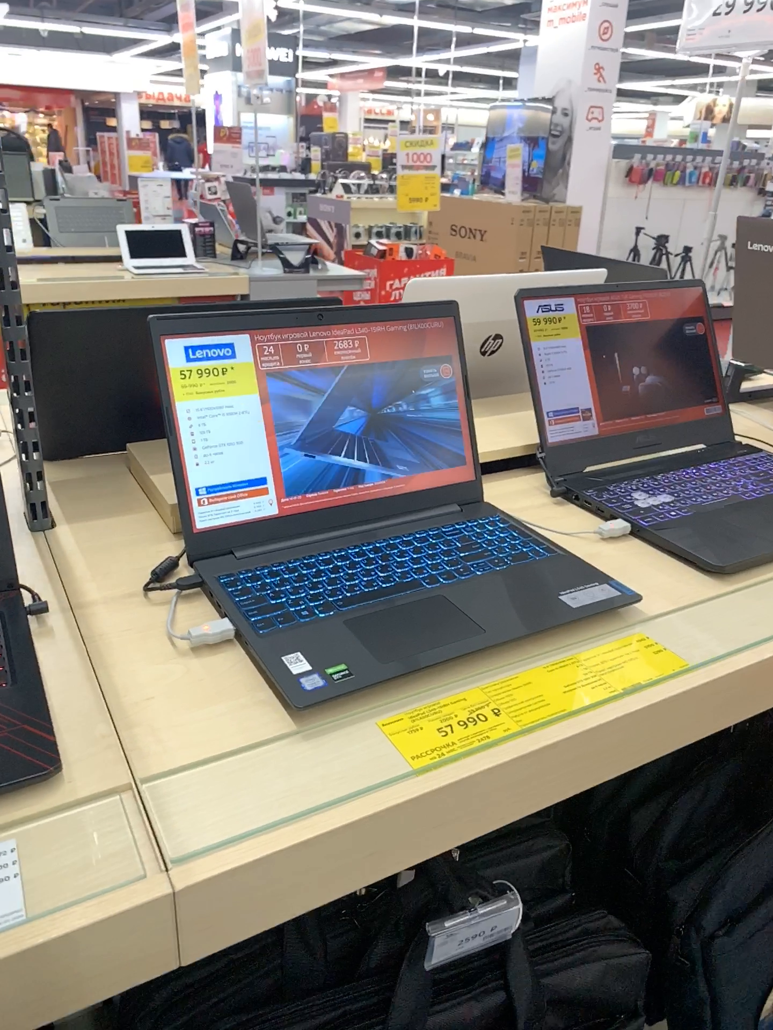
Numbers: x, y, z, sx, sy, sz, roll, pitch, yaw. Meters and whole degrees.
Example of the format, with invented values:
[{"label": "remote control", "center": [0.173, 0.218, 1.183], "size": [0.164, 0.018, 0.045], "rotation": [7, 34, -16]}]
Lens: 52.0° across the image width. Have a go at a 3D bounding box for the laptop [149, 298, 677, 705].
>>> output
[{"label": "laptop", "center": [0.003, -0.059, 0.771], "size": [0.358, 0.223, 0.348], "rotation": [-11, 28, -29]}]
